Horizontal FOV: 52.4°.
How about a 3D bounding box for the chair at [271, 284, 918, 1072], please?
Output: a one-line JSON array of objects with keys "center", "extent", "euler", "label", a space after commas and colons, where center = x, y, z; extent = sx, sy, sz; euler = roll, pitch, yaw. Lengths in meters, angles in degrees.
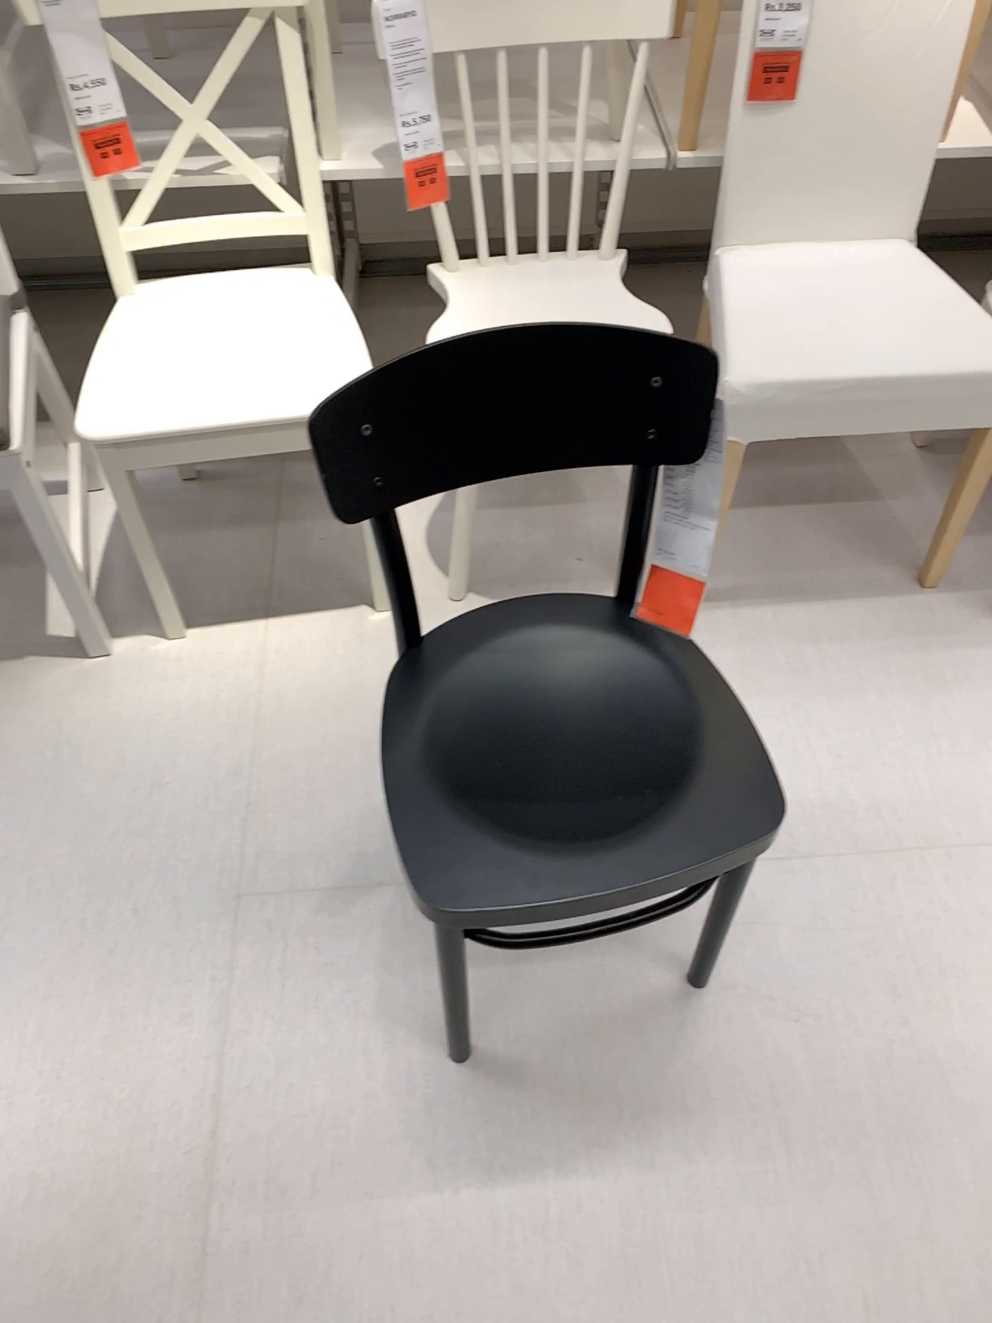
[{"center": [0.053, 0.067, 1.181], "extent": [0.430, 0.767, 0.472], "euler": [-13, 53, -10], "label": "chair"}]
